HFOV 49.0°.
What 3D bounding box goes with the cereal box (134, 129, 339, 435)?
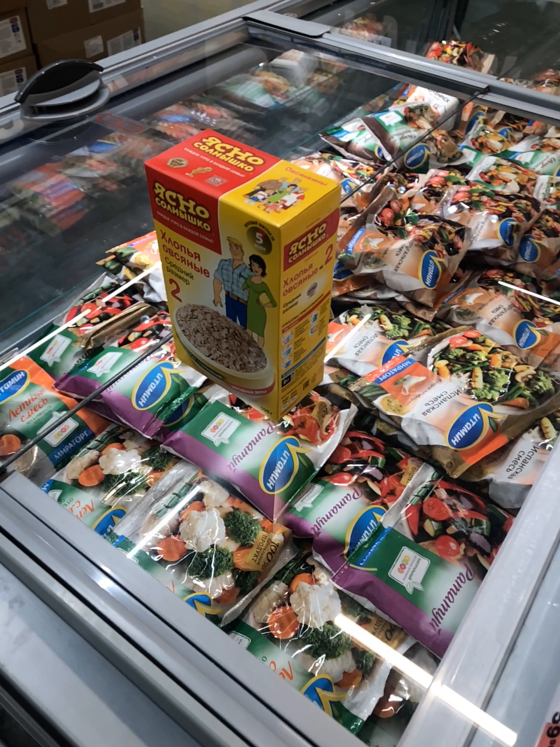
[{"bbox_3d":[-0.029,-0.064,0.480,0.120,0.199,0.070,30,54,25],"label":"cereal box"}]
